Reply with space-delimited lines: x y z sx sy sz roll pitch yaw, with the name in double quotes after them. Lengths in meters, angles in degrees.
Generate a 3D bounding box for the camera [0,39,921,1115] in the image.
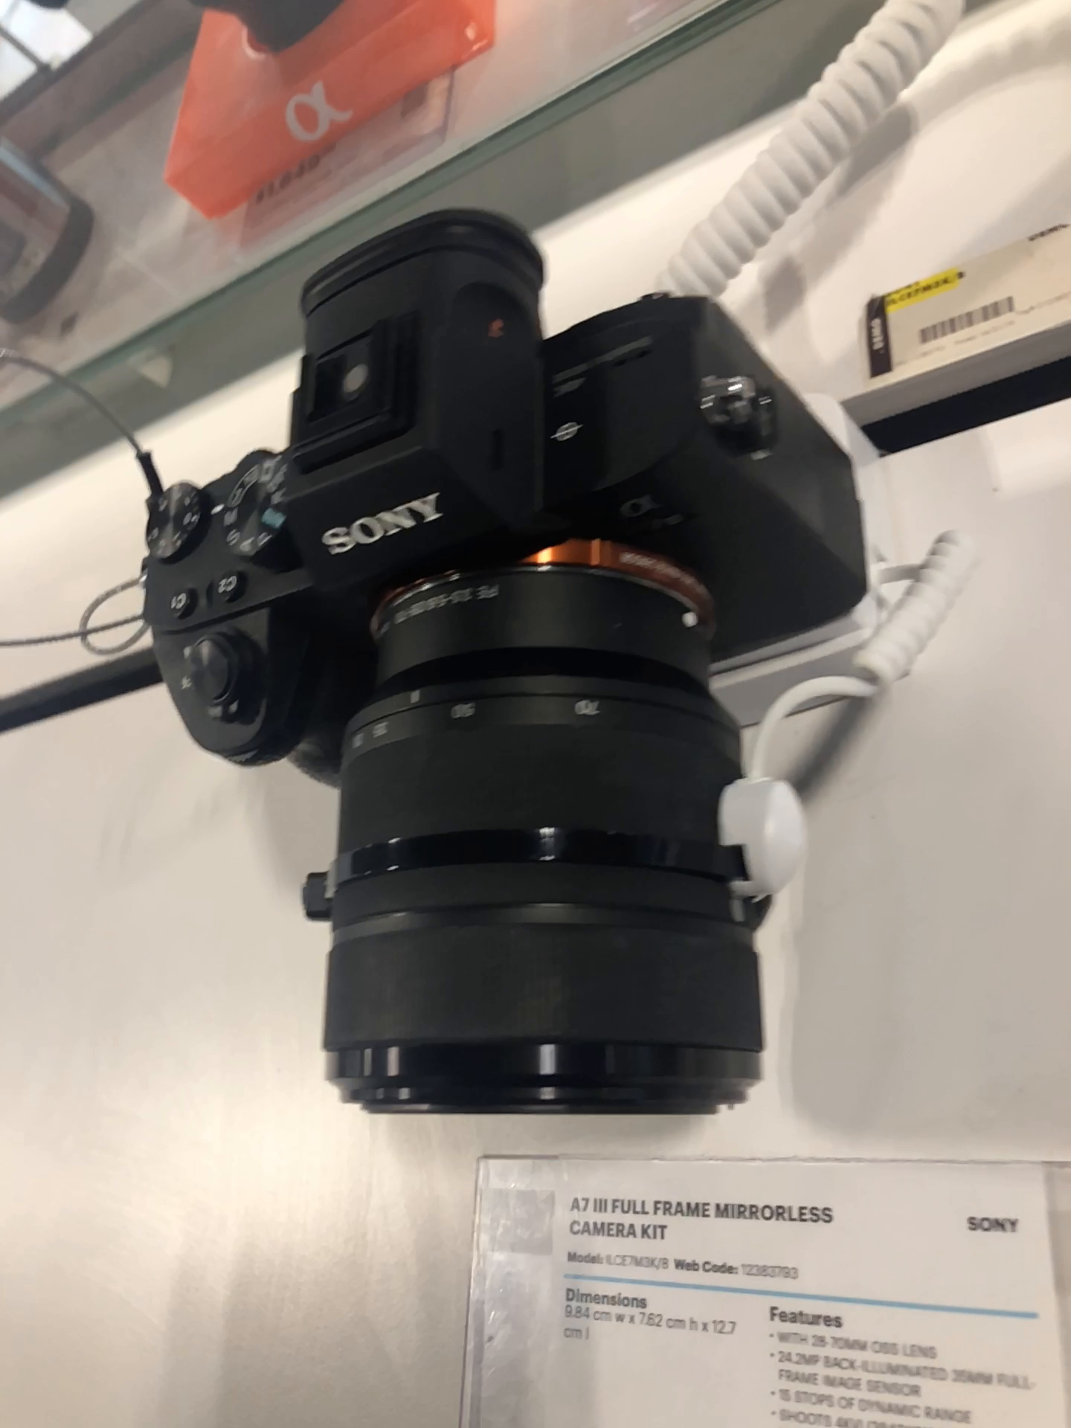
-0.015 -0.004 0.208 0.121 0.099 0.130 -14 62 33 "camera"
